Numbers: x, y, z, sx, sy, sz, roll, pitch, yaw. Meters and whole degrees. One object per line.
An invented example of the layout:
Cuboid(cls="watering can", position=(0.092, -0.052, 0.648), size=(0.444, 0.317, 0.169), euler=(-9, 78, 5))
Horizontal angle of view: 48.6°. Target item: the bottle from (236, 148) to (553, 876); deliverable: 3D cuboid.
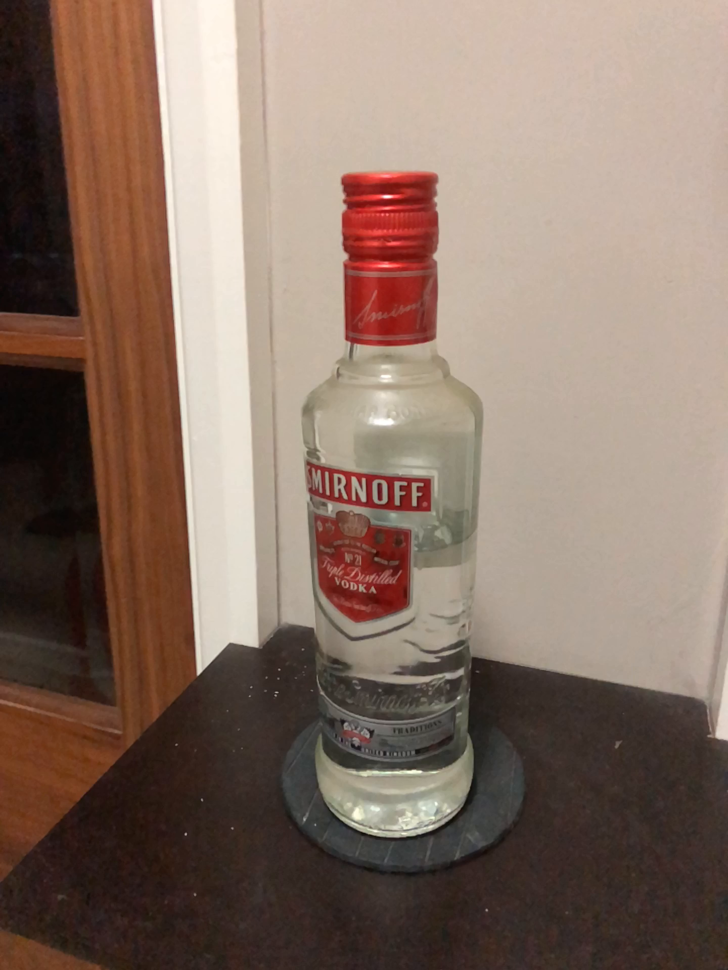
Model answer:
Cuboid(cls="bottle", position=(0.011, 0.008, 0.272), size=(0.070, 0.219, 0.070), euler=(0, 18, 0))
